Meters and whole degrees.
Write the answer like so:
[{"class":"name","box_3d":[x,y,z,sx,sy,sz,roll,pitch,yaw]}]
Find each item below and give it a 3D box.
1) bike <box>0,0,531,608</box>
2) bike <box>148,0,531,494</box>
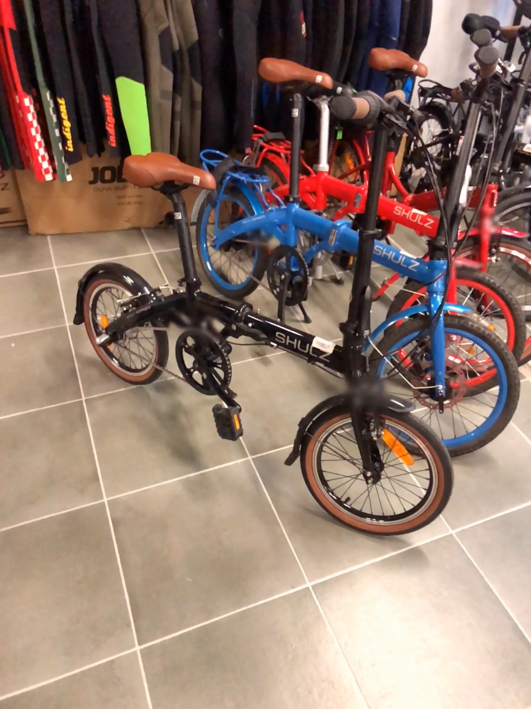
[{"class":"bike","box_3d":[-0.047,-0.212,1.488,1.275,1.057,0.567,24,44,26]},{"class":"bike","box_3d":[0.314,-0.465,1.879,0.569,1.029,1.376,-31,51,-34]}]
